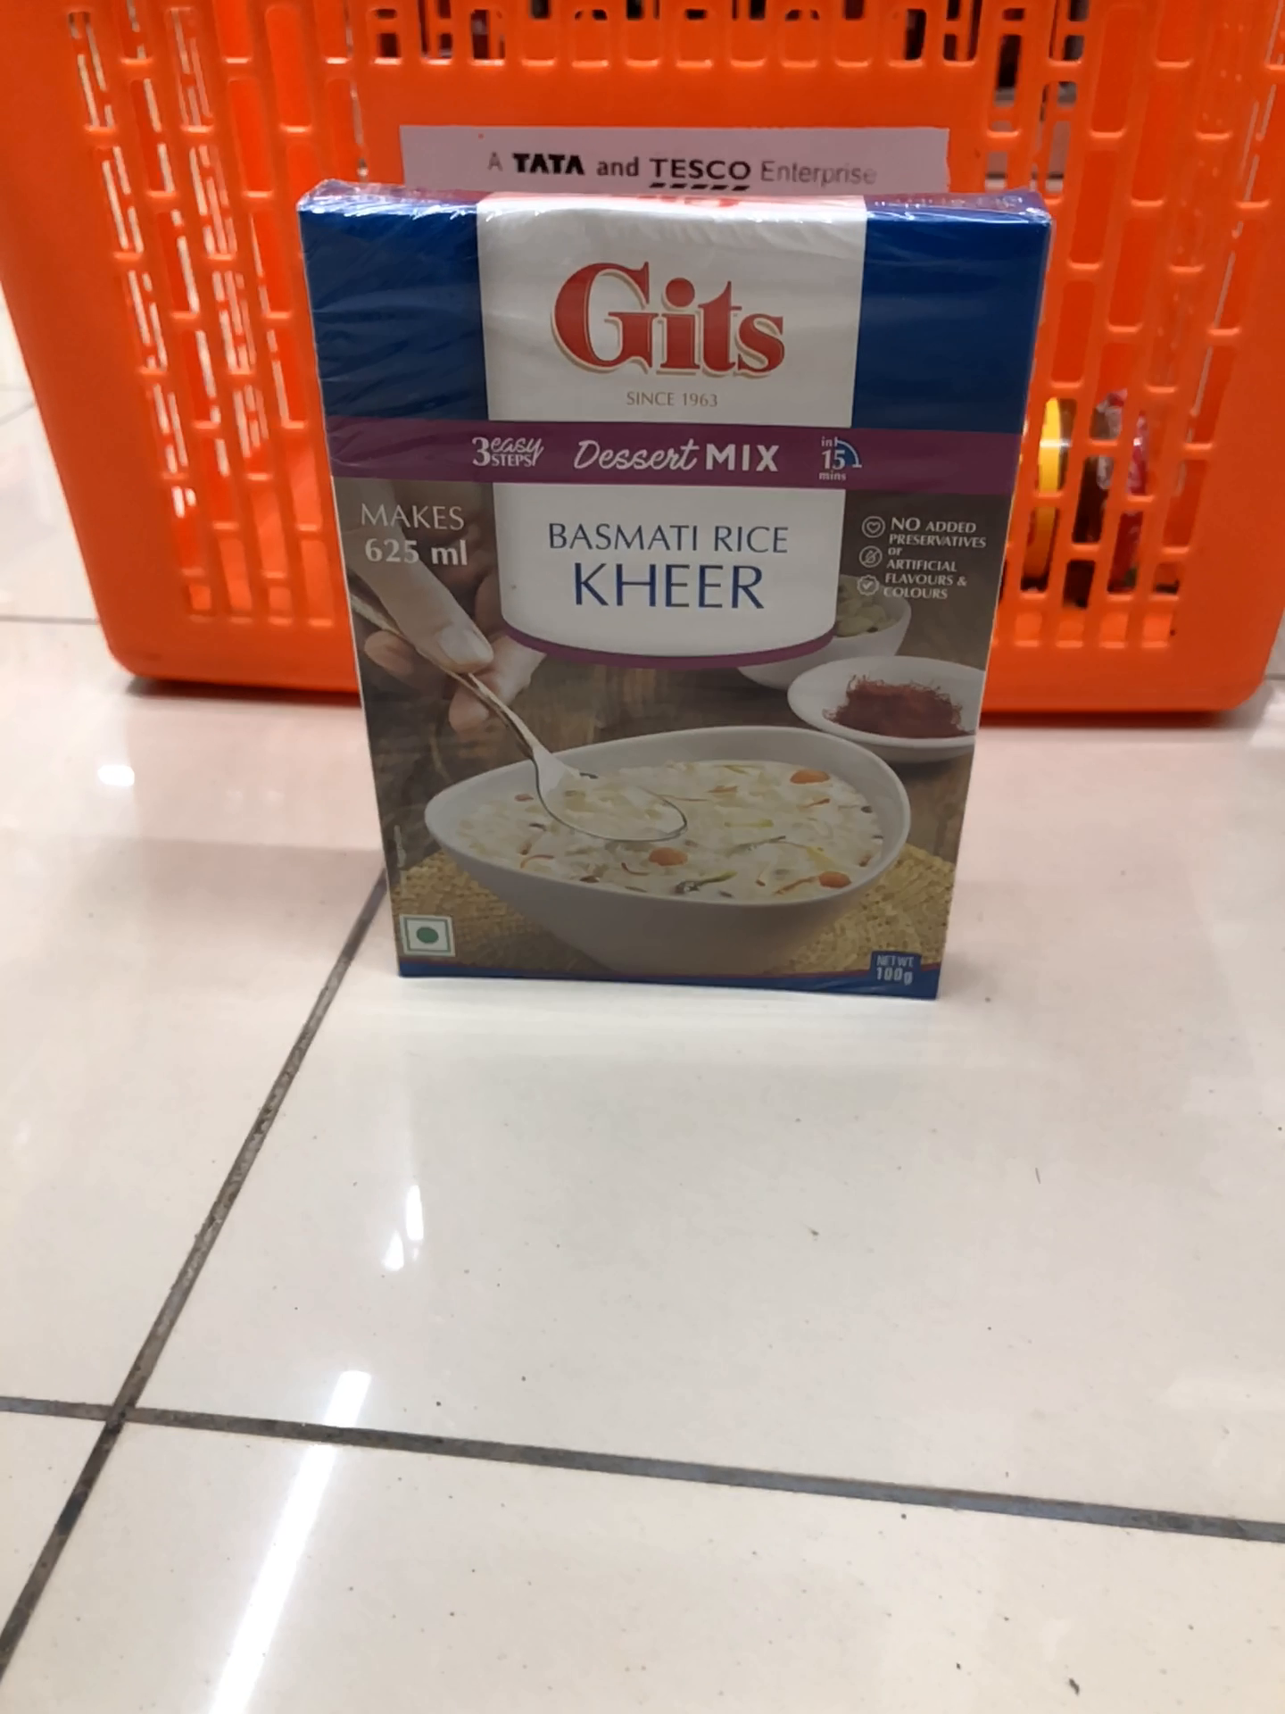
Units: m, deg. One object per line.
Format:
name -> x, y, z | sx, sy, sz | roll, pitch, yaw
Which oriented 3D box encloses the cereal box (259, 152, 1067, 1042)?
cereal box -> 0.003, -0.041, 0.266 | 0.120, 0.159, 0.030 | 2, 32, 4
